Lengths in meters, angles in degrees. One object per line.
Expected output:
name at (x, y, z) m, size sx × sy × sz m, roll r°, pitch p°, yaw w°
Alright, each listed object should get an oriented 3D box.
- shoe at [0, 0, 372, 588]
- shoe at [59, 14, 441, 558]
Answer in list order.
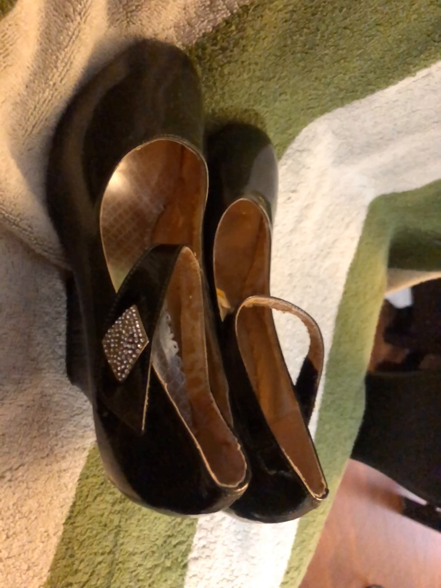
shoe at (-0.029, -0.026, 0.229) m, size 0.090 × 0.119 × 0.240 m, roll 15°, pitch 87°, yaw -44°
shoe at (0.021, -0.006, 0.275) m, size 0.090 × 0.119 × 0.240 m, roll 27°, pitch 78°, yaw -43°
